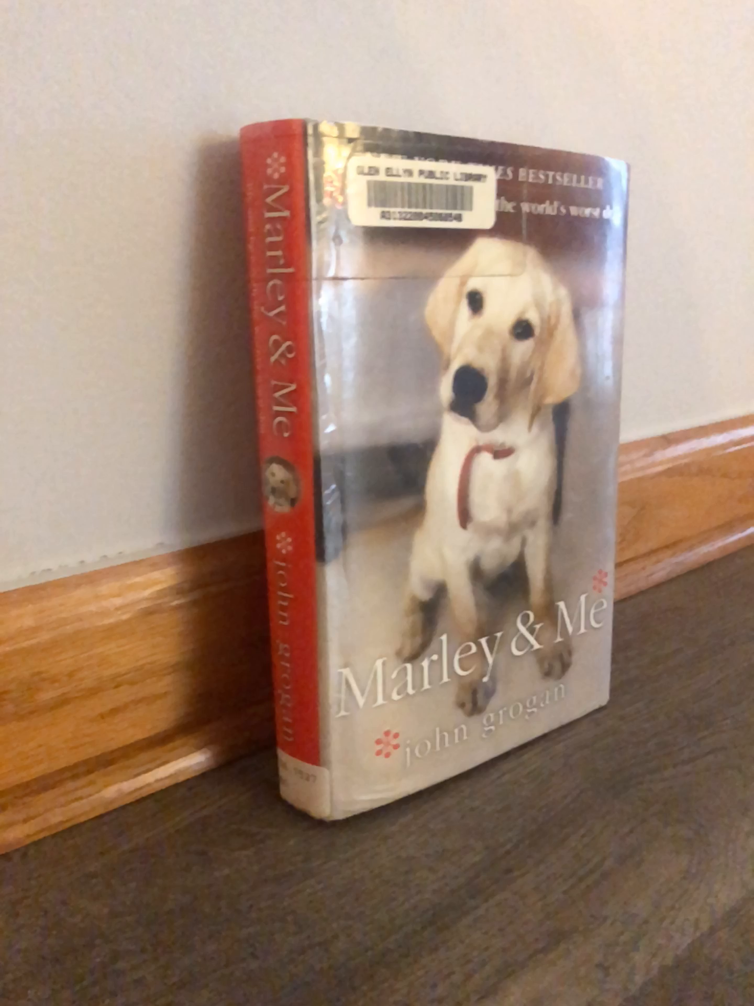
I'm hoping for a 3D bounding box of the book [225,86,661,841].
[{"bbox_3d":[0.031,-0.016,0.298,0.151,0.219,0.040,-12,17,-35],"label":"book"}]
